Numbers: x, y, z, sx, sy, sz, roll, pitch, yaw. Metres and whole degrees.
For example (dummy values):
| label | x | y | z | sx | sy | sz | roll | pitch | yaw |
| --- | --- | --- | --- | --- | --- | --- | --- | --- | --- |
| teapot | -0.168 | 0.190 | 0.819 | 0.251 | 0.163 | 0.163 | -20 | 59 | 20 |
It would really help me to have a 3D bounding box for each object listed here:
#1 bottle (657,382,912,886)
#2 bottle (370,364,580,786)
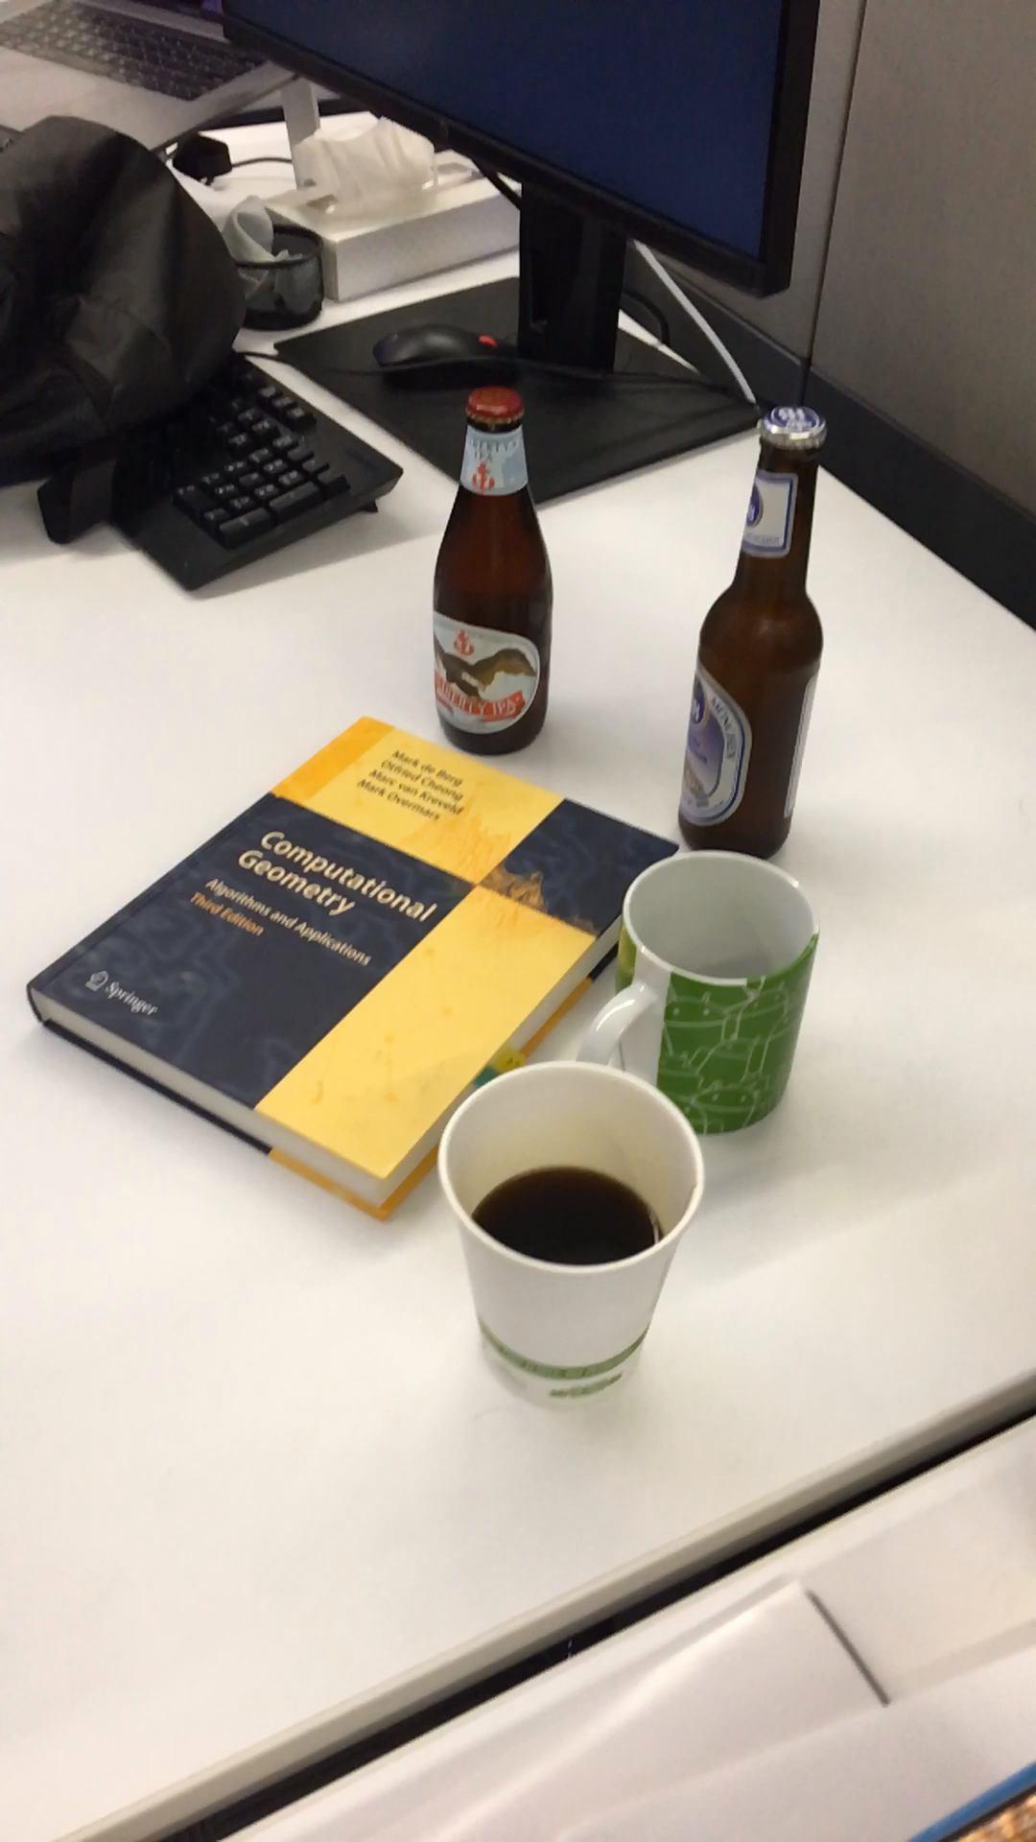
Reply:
| label | x | y | z | sx | sy | sz | roll | pitch | yaw |
| --- | --- | --- | --- | --- | --- | --- | --- | --- | --- |
| bottle | 0.113 | -0.122 | 0.692 | 0.070 | 0.220 | 0.060 | -8 | 44 | -9 |
| bottle | -0.020 | -0.167 | 0.758 | 0.070 | 0.180 | 0.070 | 0 | 44 | 0 |
